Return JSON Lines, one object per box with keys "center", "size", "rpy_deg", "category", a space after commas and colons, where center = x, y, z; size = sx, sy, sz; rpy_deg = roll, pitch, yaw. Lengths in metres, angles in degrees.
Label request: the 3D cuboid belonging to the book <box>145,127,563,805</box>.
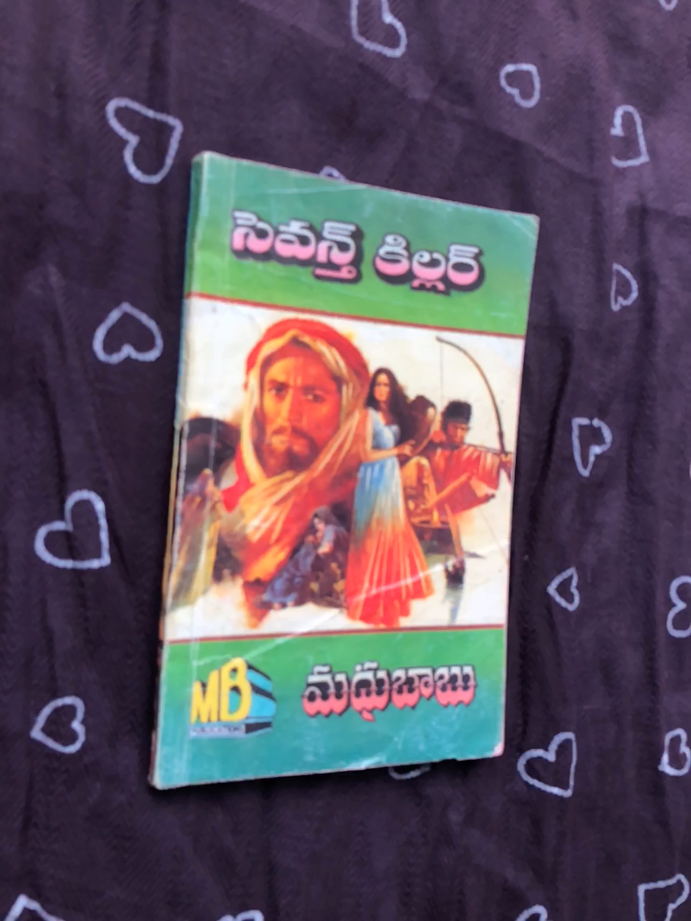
{"center": [0.007, 0.004, 0.192], "size": [0.100, 0.010, 0.150], "rpy_deg": [4, 89, -22], "category": "book"}
